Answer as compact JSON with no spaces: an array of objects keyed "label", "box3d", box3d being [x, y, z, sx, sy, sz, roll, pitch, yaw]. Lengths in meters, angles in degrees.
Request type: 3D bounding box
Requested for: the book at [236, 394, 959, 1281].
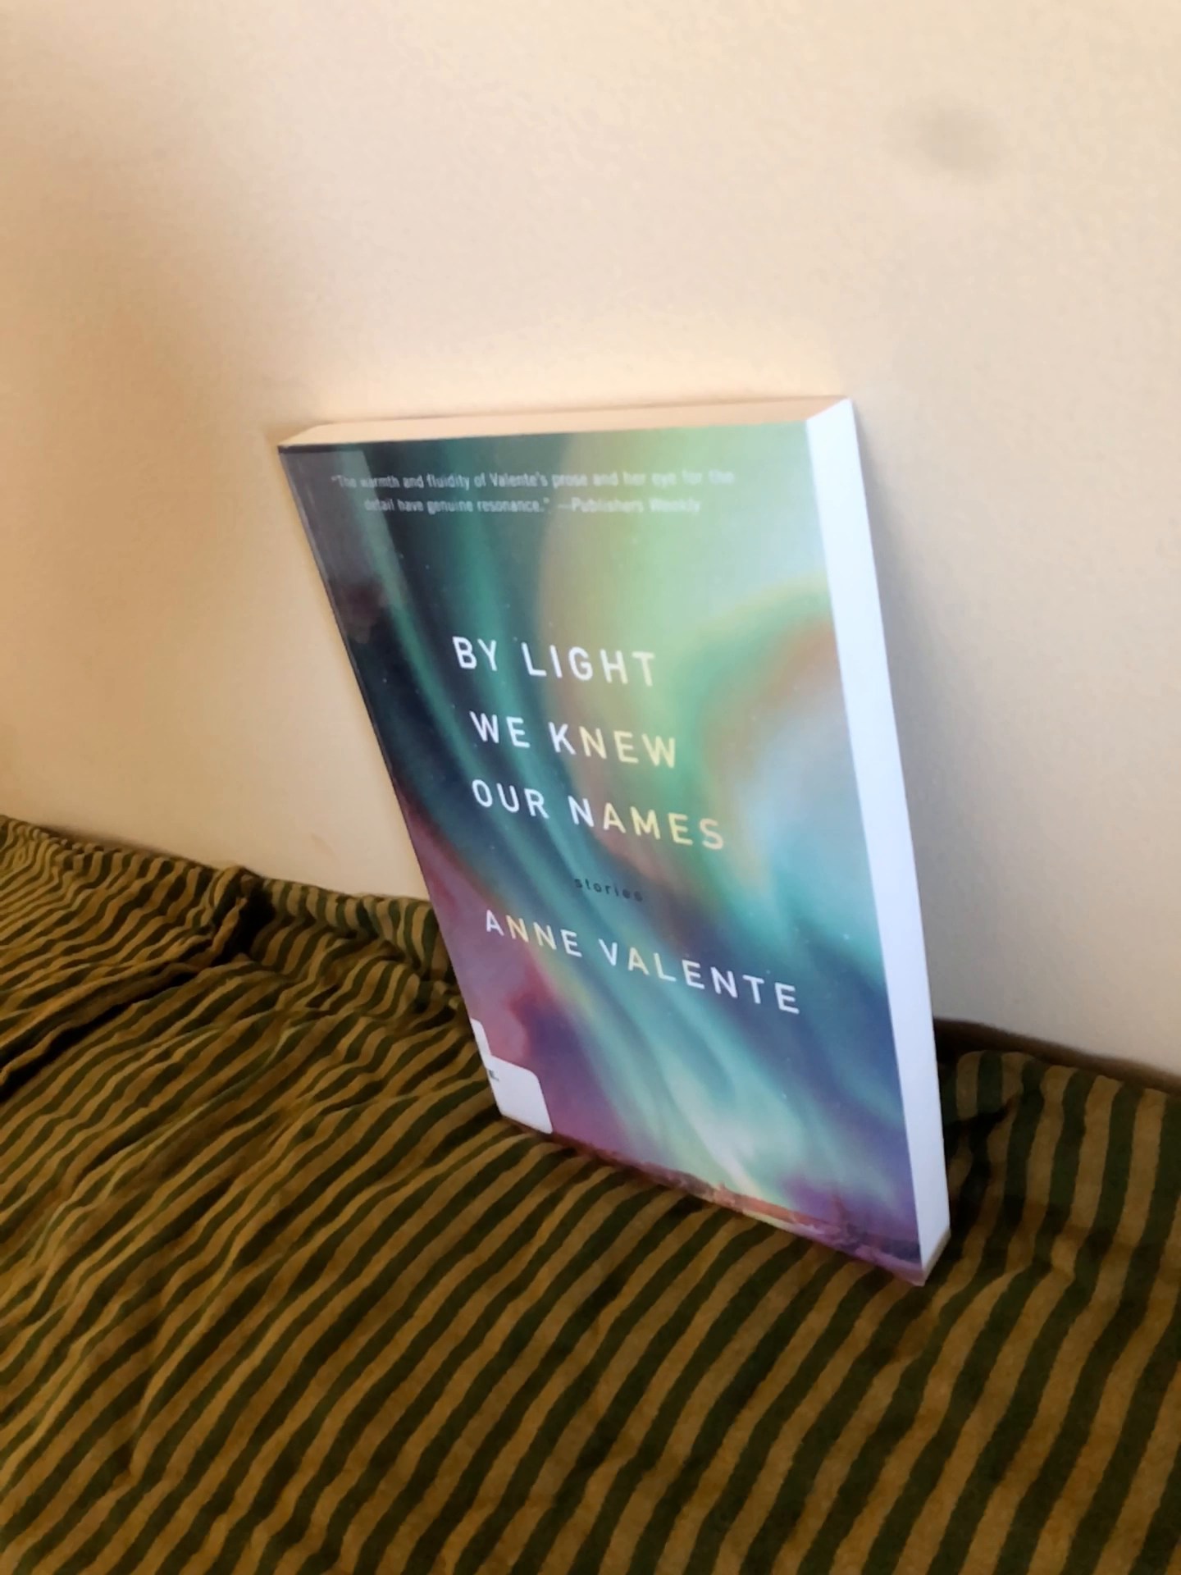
[{"label":"book","box3d":[0.009,0.019,0.320,0.142,0.223,0.020,9,39,34]}]
